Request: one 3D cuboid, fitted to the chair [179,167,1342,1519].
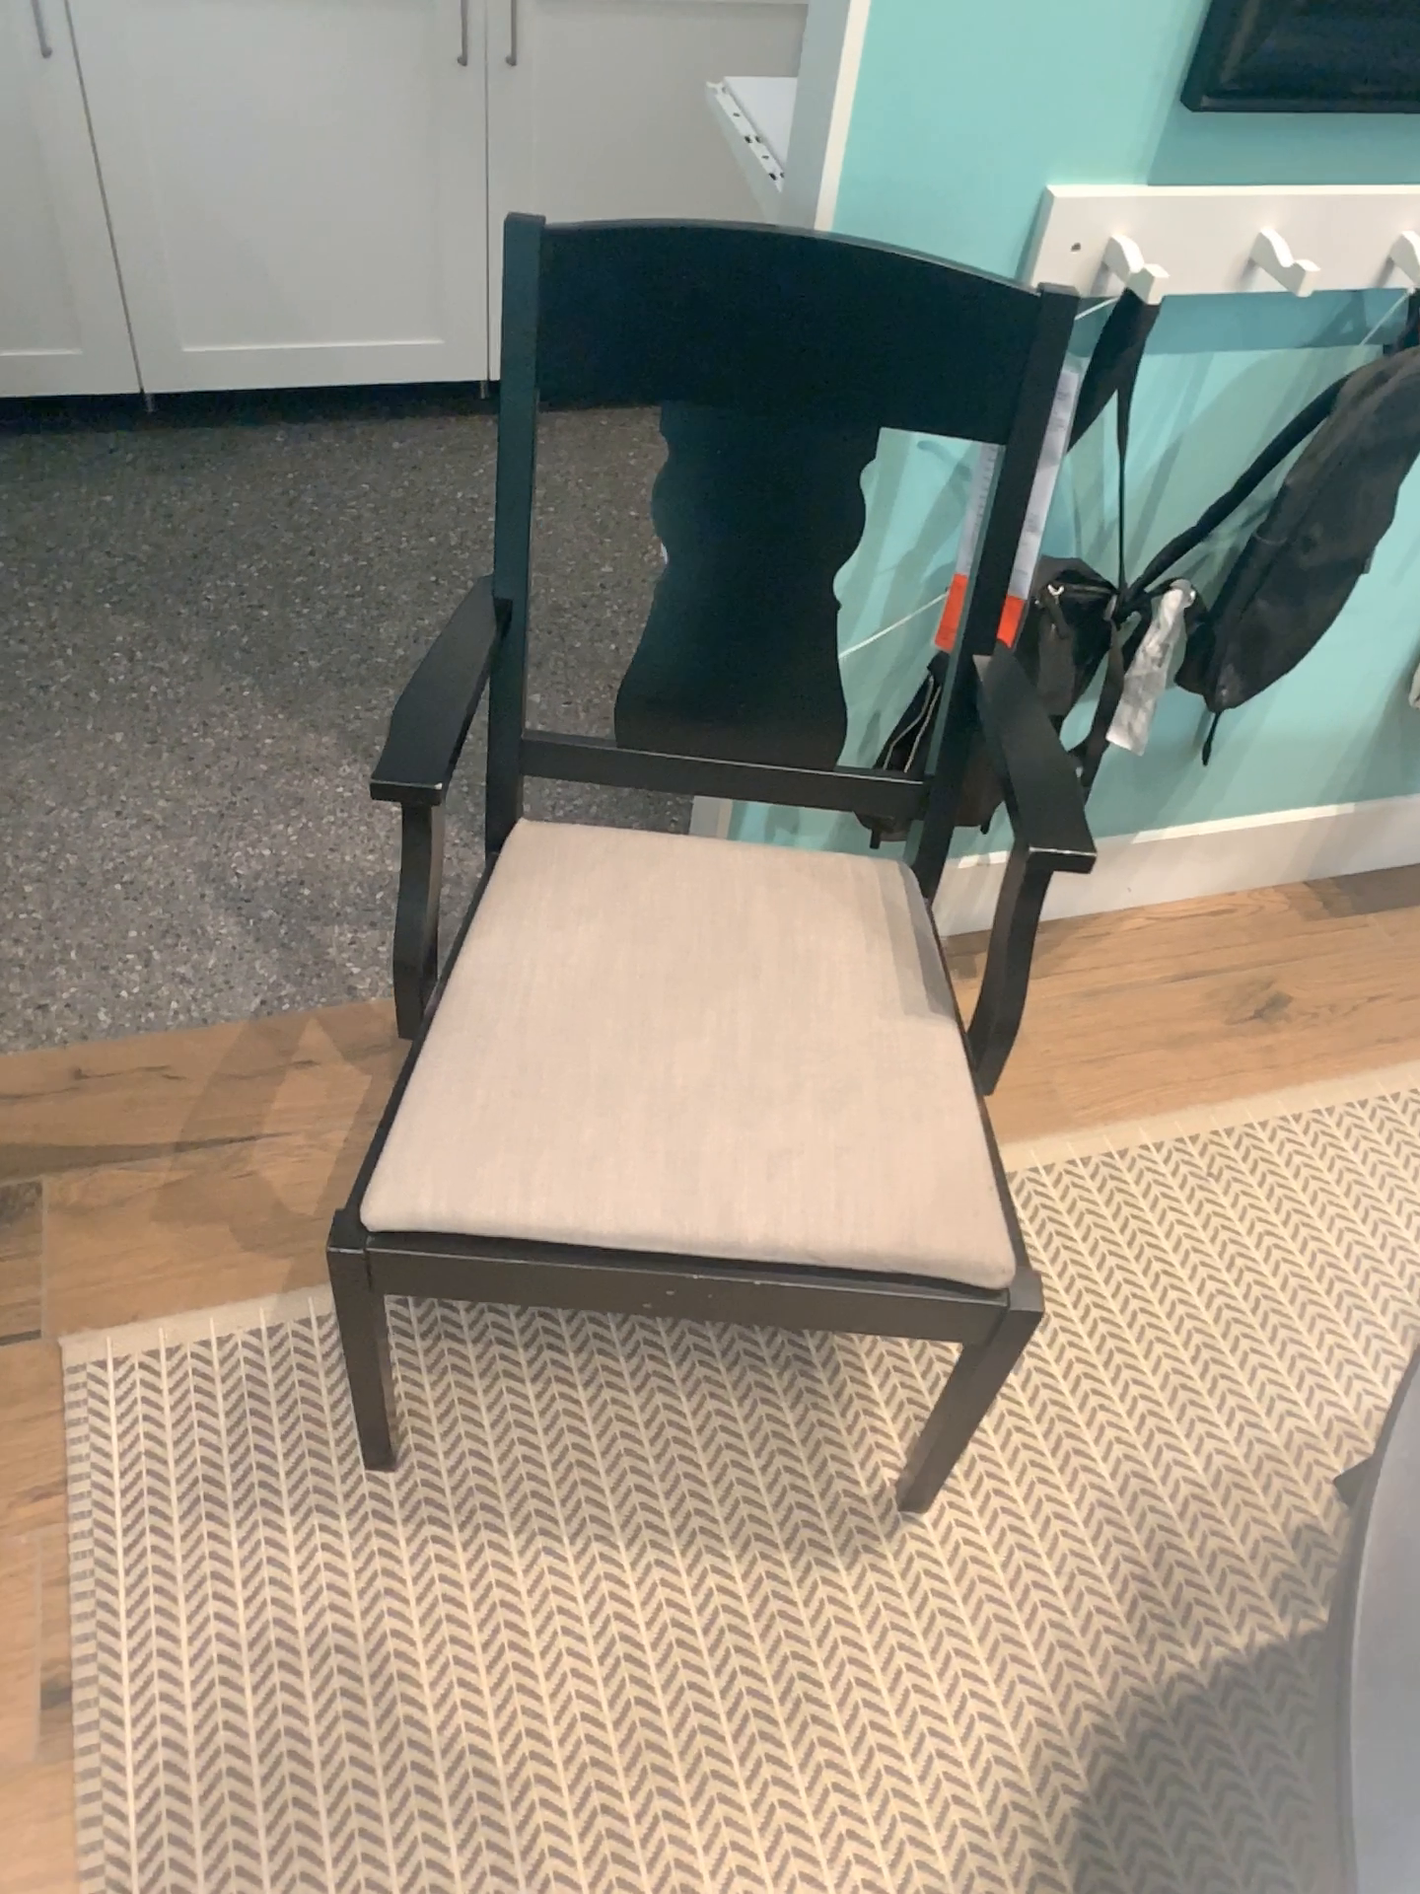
[{"bbox_3d":[-0.002,-0.052,1.336,0.600,0.897,0.803,5,49,-3],"label":"chair"}]
